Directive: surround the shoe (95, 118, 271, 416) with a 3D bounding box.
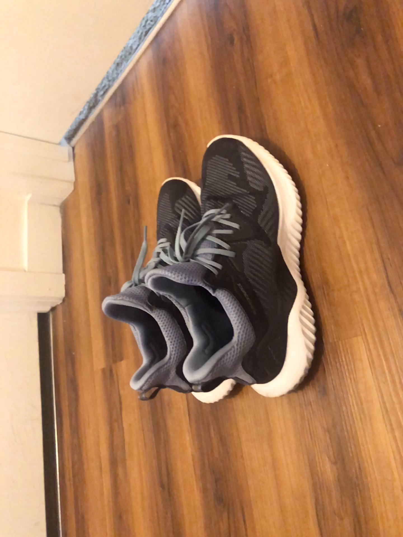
[{"bbox_3d":[-0.035,0.004,0.572,0.133,0.134,0.333,-27,65,49],"label":"shoe"}]

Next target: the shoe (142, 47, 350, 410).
[{"bbox_3d":[0.036,-0.030,0.478,0.132,0.130,0.334,-22,69,50],"label":"shoe"}]
